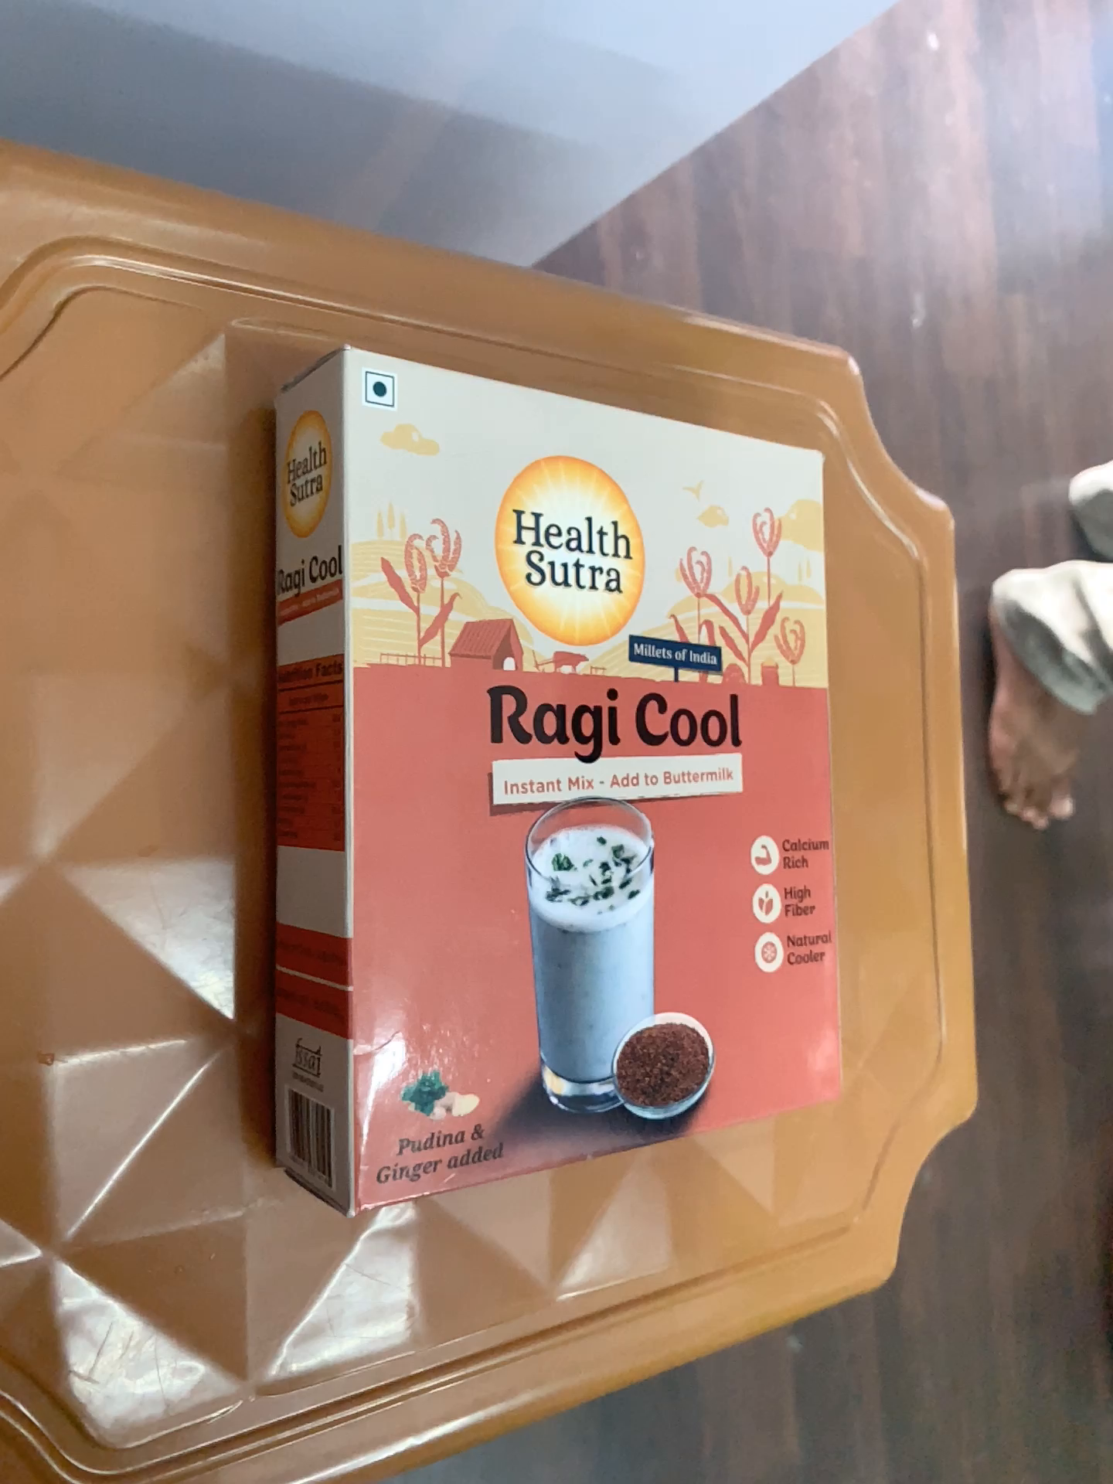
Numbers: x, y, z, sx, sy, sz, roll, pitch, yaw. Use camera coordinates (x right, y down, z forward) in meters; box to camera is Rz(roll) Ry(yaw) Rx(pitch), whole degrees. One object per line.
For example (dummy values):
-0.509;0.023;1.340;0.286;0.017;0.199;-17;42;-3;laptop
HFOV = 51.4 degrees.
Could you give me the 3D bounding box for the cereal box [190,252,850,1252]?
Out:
-0.002;0.001;0.252;0.141;0.040;0.170;0;88;-34;cereal box
